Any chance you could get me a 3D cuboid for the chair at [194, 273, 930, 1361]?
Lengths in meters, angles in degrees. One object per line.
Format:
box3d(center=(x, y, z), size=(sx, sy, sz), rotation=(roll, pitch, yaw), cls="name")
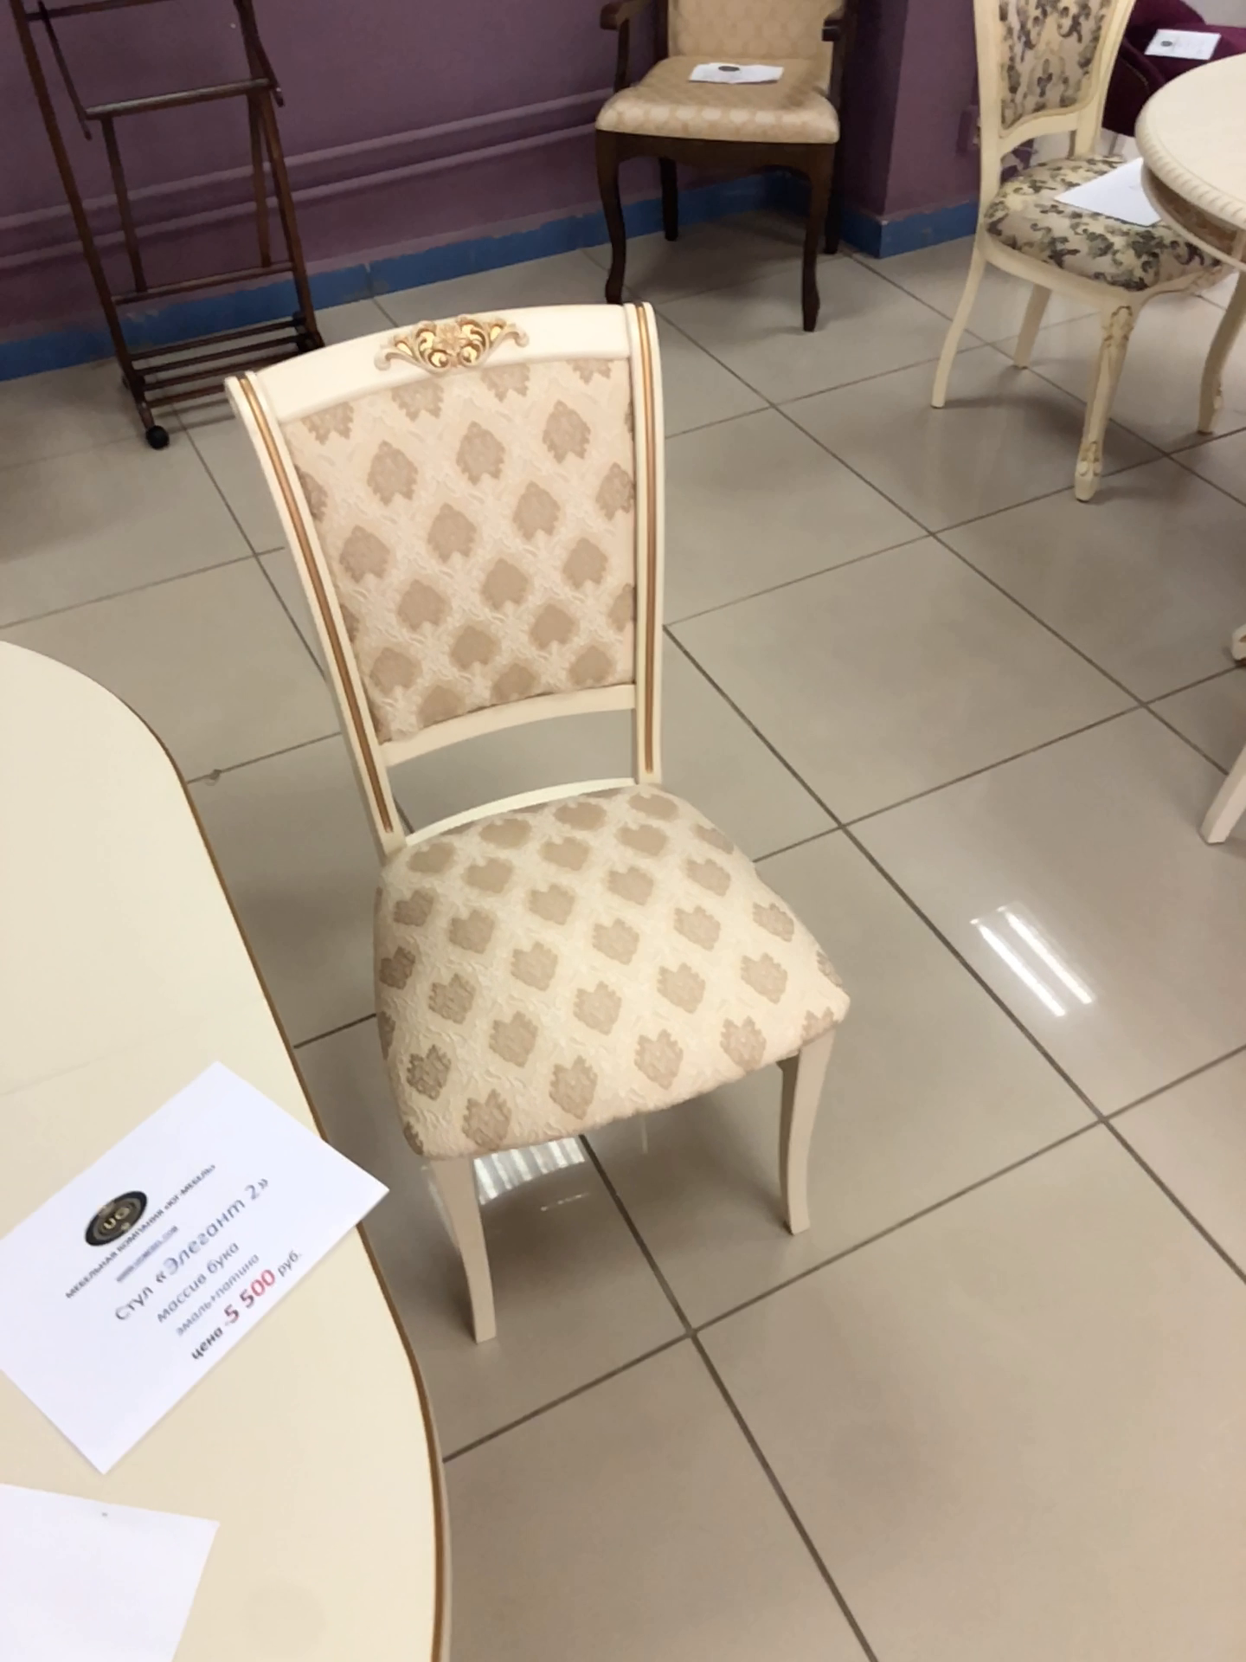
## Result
box3d(center=(-0.064, 0.033, 1.393), size=(0.448, 0.945, 0.483), rotation=(-15, 46, -12), cls="chair")
